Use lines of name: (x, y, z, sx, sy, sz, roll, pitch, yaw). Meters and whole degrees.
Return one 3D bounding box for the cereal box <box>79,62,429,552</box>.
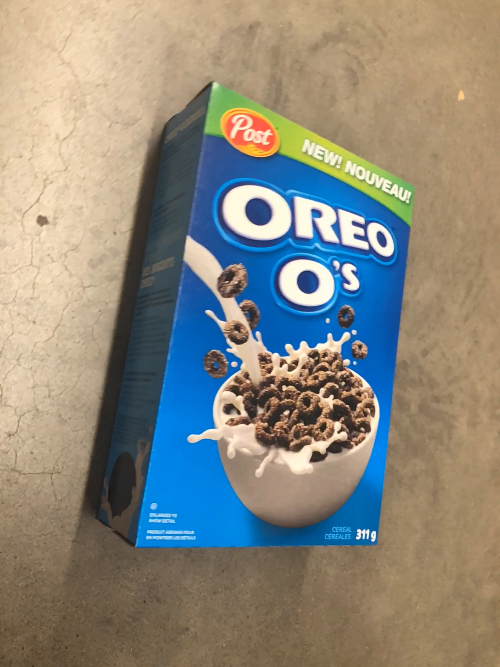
cereal box: (0.018, -0.002, 0.392, 0.211, 0.070, 0.280, 13, 80, -32)
